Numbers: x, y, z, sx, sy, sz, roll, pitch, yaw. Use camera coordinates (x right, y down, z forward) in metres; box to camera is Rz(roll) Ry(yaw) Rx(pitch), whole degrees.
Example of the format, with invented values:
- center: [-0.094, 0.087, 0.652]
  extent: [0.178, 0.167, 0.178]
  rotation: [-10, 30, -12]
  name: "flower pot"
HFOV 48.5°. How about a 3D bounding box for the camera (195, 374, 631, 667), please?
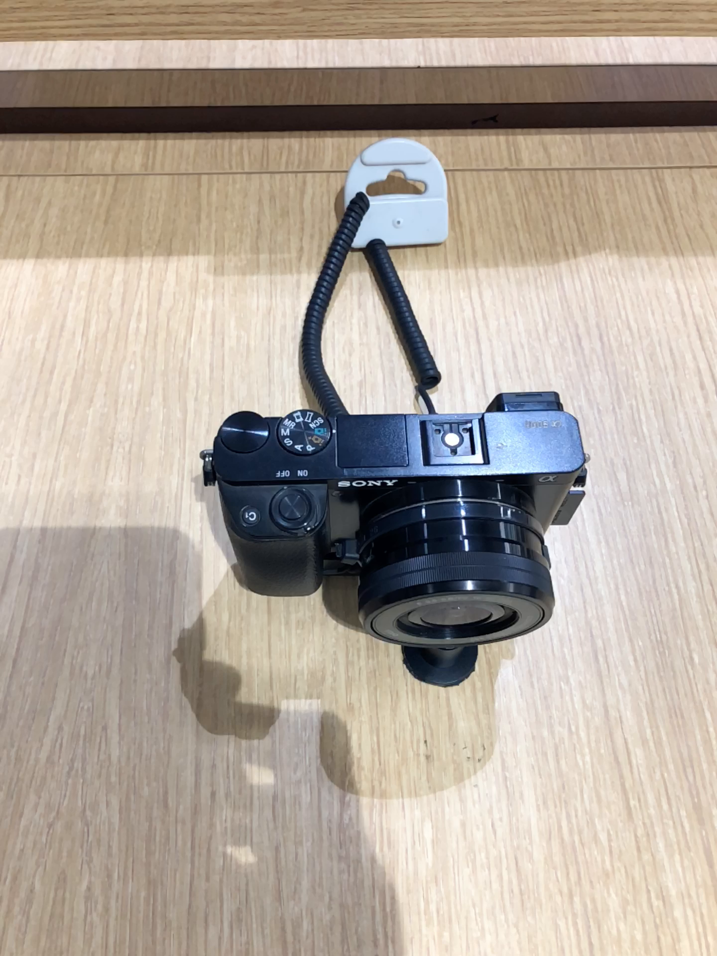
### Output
- center: [0.011, 0.015, 0.239]
  extent: [0.107, 0.070, 0.059]
  rotation: [-3, 61, -3]
  name: "camera"
